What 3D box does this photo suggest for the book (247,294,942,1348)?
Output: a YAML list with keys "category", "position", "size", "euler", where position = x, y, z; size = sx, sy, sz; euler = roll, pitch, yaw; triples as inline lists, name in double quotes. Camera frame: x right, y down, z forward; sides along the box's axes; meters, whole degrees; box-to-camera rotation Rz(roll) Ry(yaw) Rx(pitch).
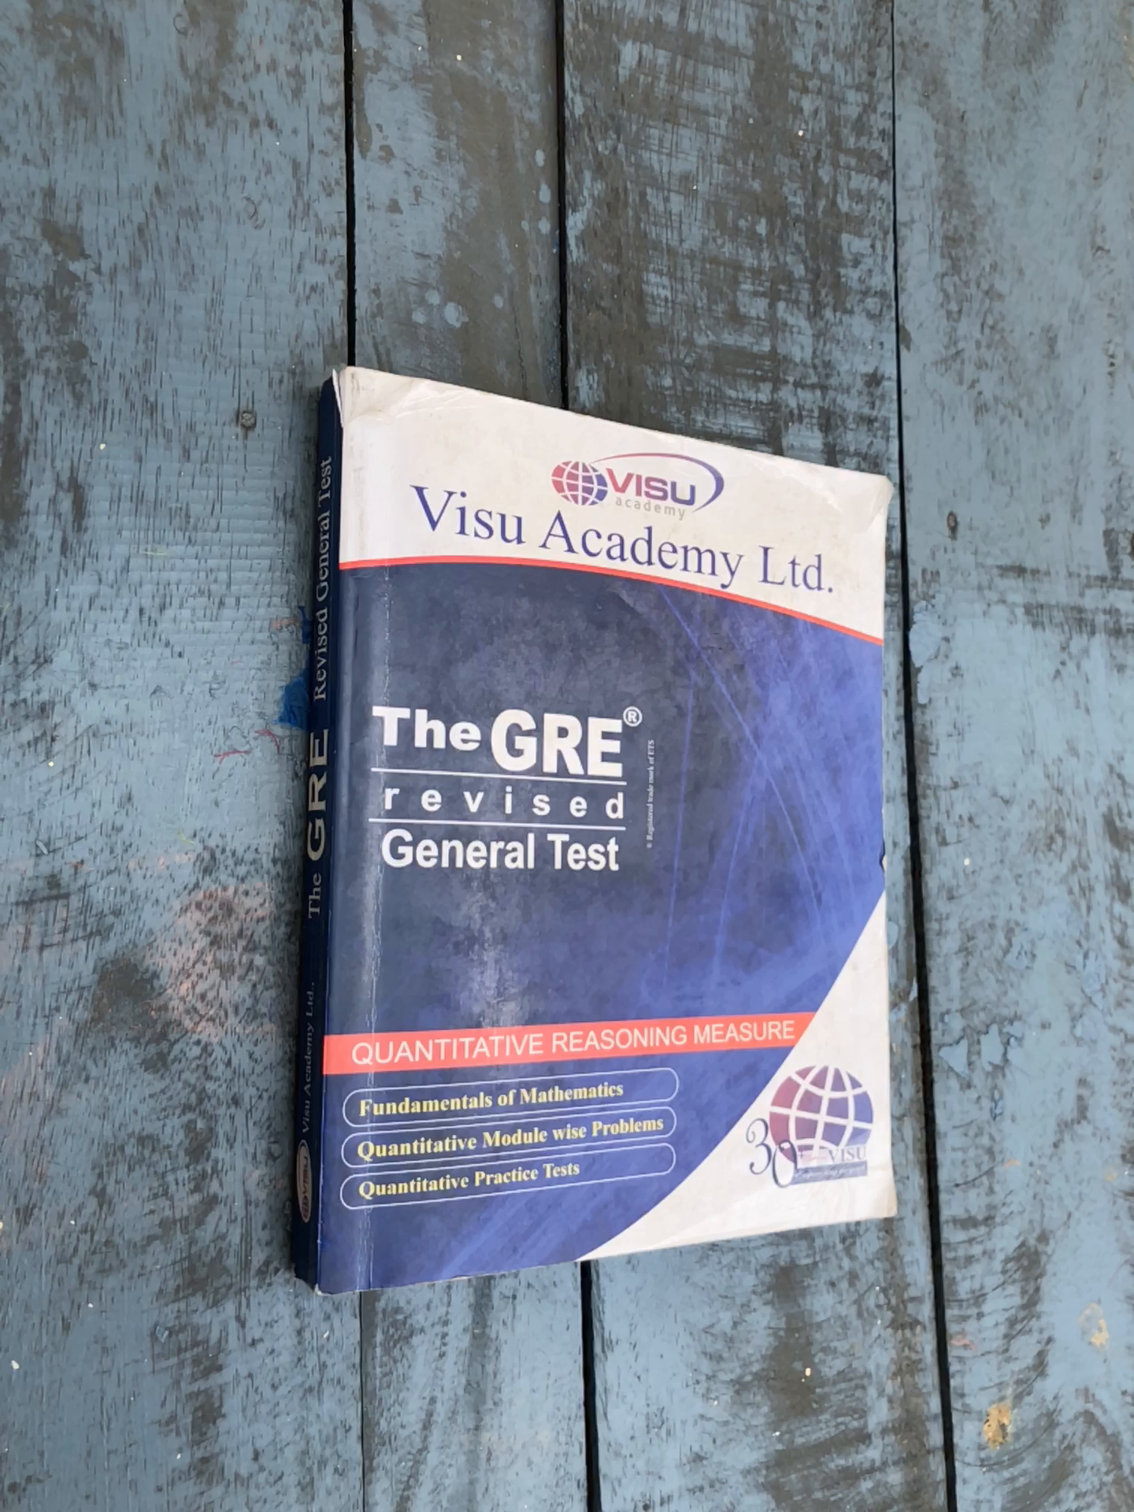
- category: "book"
  position: [0.015, 0.020, 0.423]
  size: [0.221, 0.060, 0.290]
  euler: [4, 82, -27]
